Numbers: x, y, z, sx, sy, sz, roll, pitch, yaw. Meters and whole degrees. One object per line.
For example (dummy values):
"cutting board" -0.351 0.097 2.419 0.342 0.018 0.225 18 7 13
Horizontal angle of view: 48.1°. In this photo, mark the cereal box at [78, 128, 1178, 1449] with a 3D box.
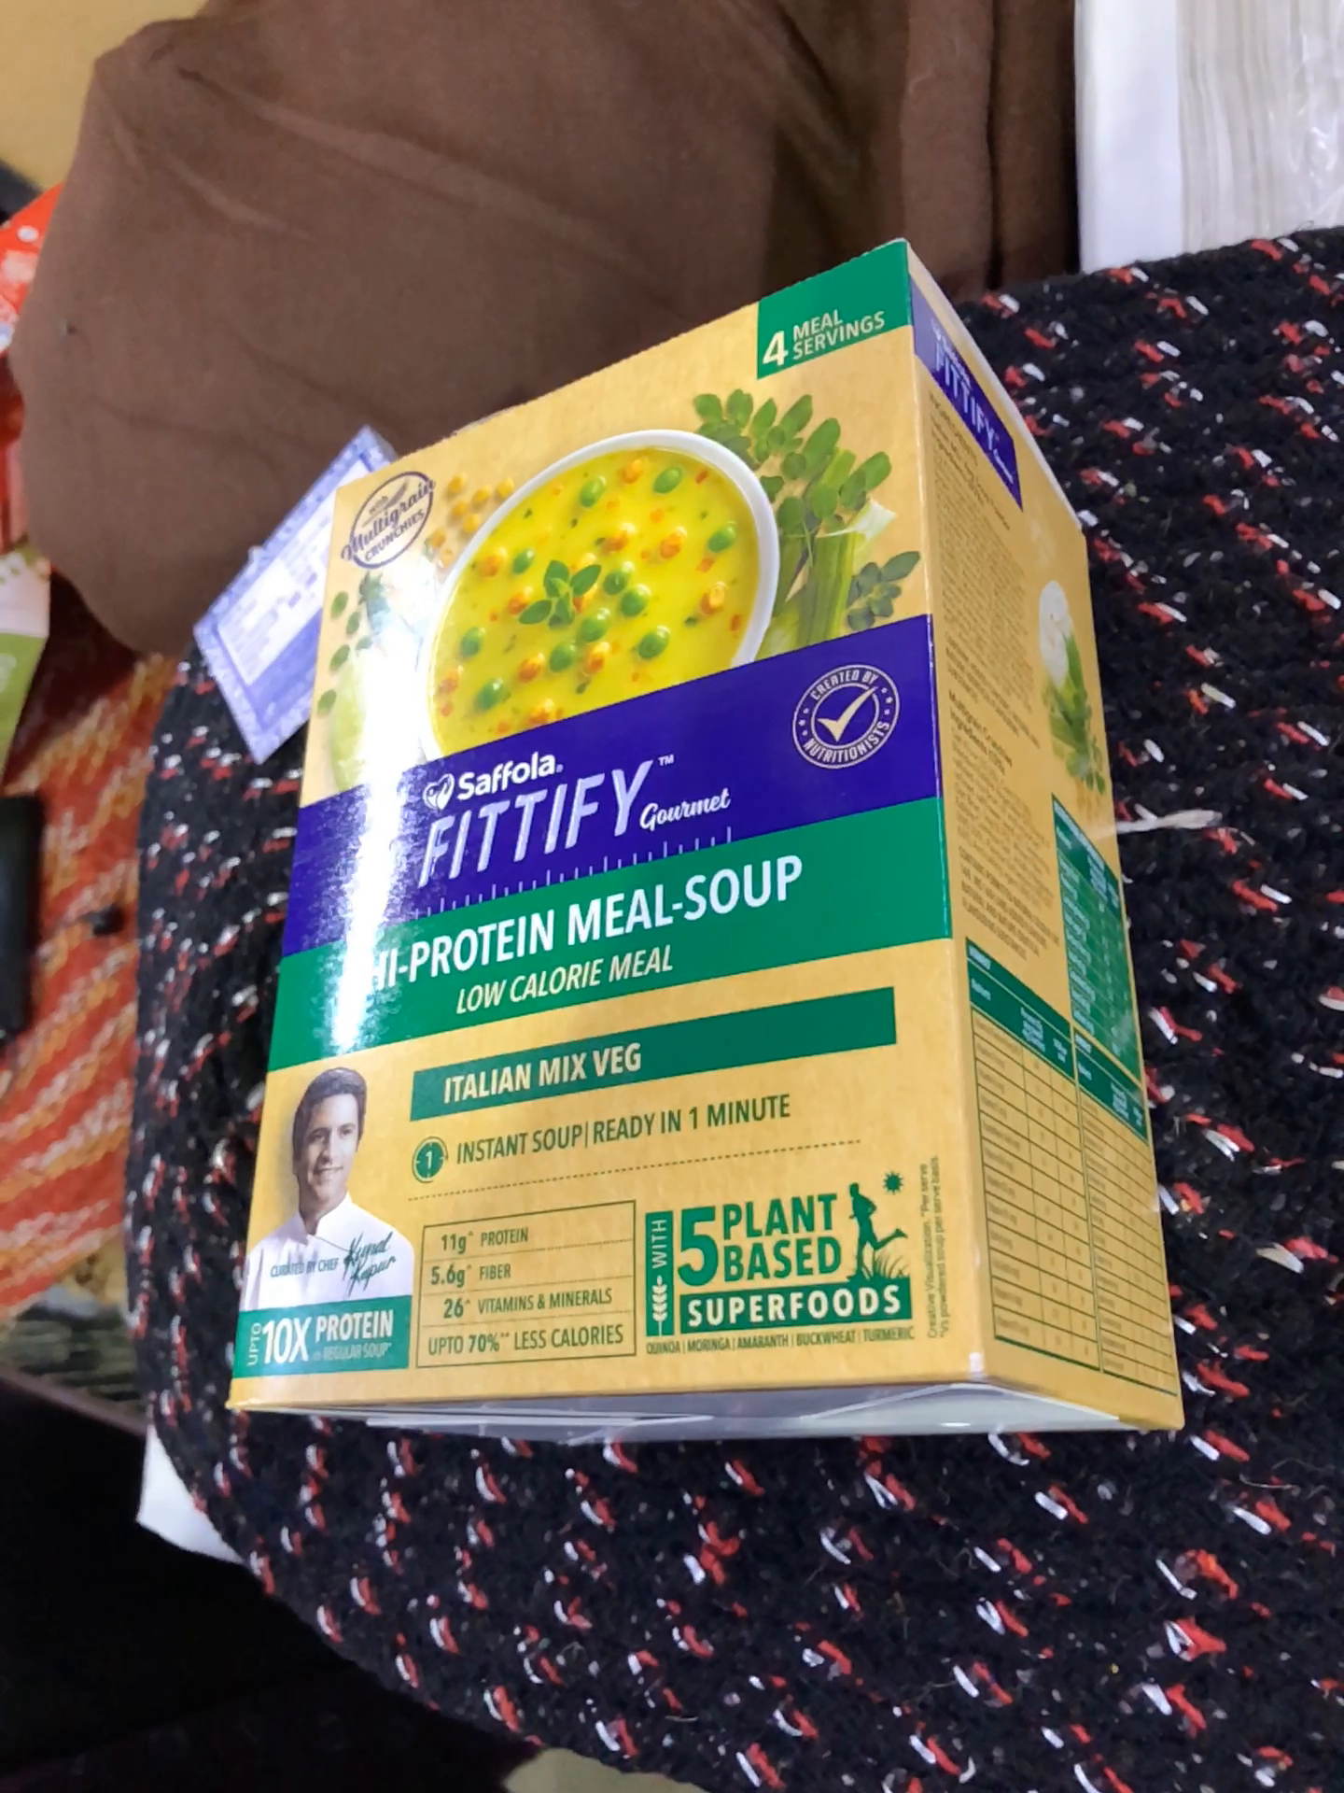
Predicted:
"cereal box" -0.005 -0.004 0.242 0.130 0.080 0.170 -12 64 29
